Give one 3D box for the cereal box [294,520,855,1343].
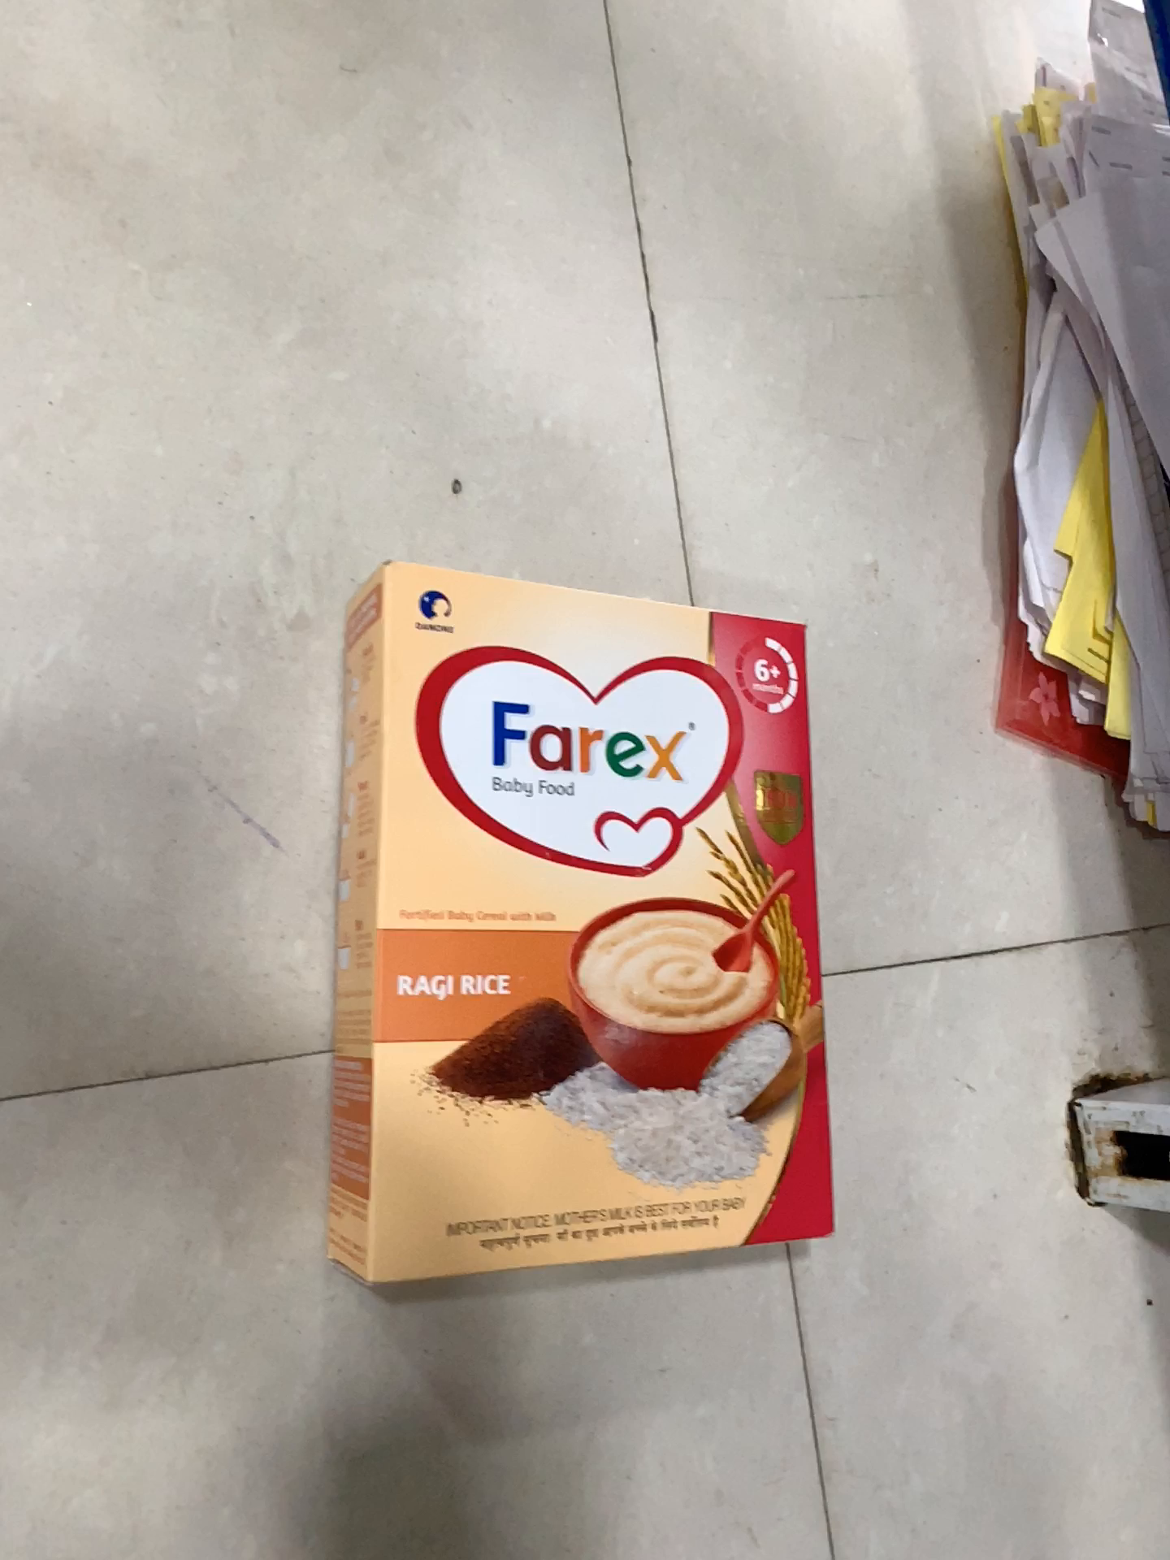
[{"bbox_3d":[0.001,0.042,0.351,0.151,0.050,0.200,6,78,-29],"label":"cereal box"}]
